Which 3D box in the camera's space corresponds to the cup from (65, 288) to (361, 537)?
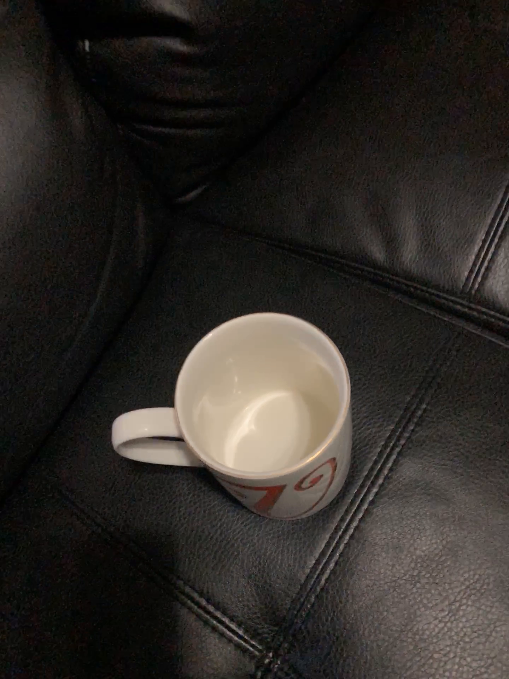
[{"bbox_3d":[-0.015,0.050,0.309,0.138,0.107,0.098,-8,59,7],"label":"cup"}]
